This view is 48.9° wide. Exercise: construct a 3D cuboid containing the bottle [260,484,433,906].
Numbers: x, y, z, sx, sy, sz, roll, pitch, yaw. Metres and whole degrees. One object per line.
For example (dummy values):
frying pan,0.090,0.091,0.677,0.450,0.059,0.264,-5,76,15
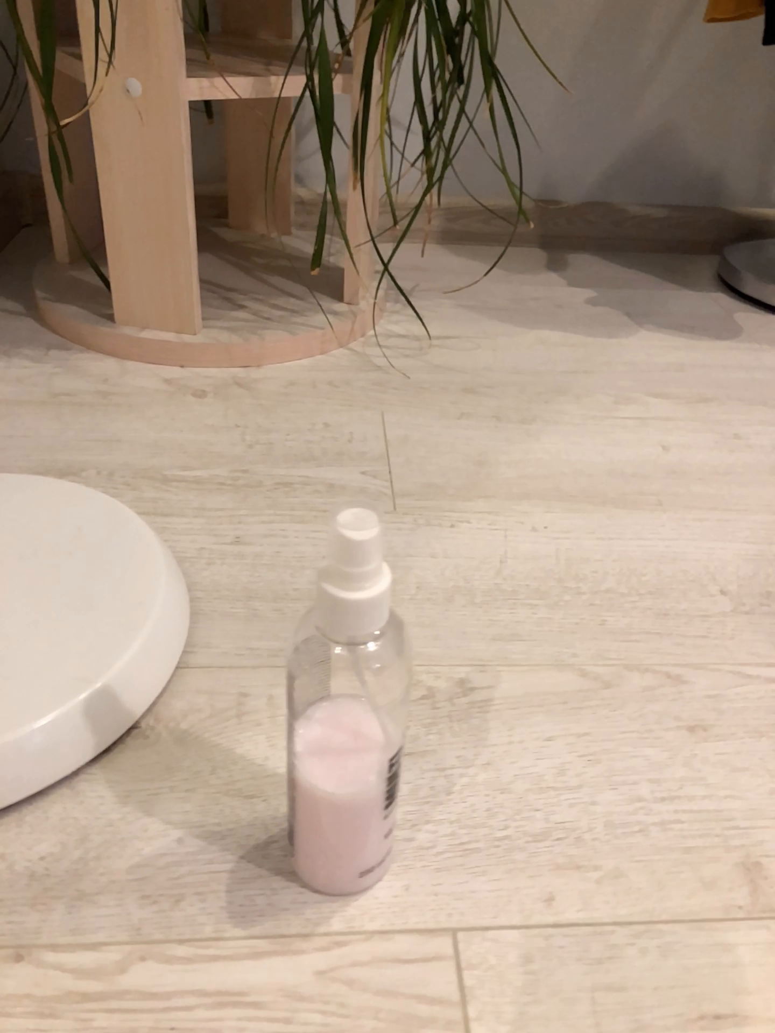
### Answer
bottle,-0.019,0.078,0.338,0.054,0.183,0.049,1,34,-4
